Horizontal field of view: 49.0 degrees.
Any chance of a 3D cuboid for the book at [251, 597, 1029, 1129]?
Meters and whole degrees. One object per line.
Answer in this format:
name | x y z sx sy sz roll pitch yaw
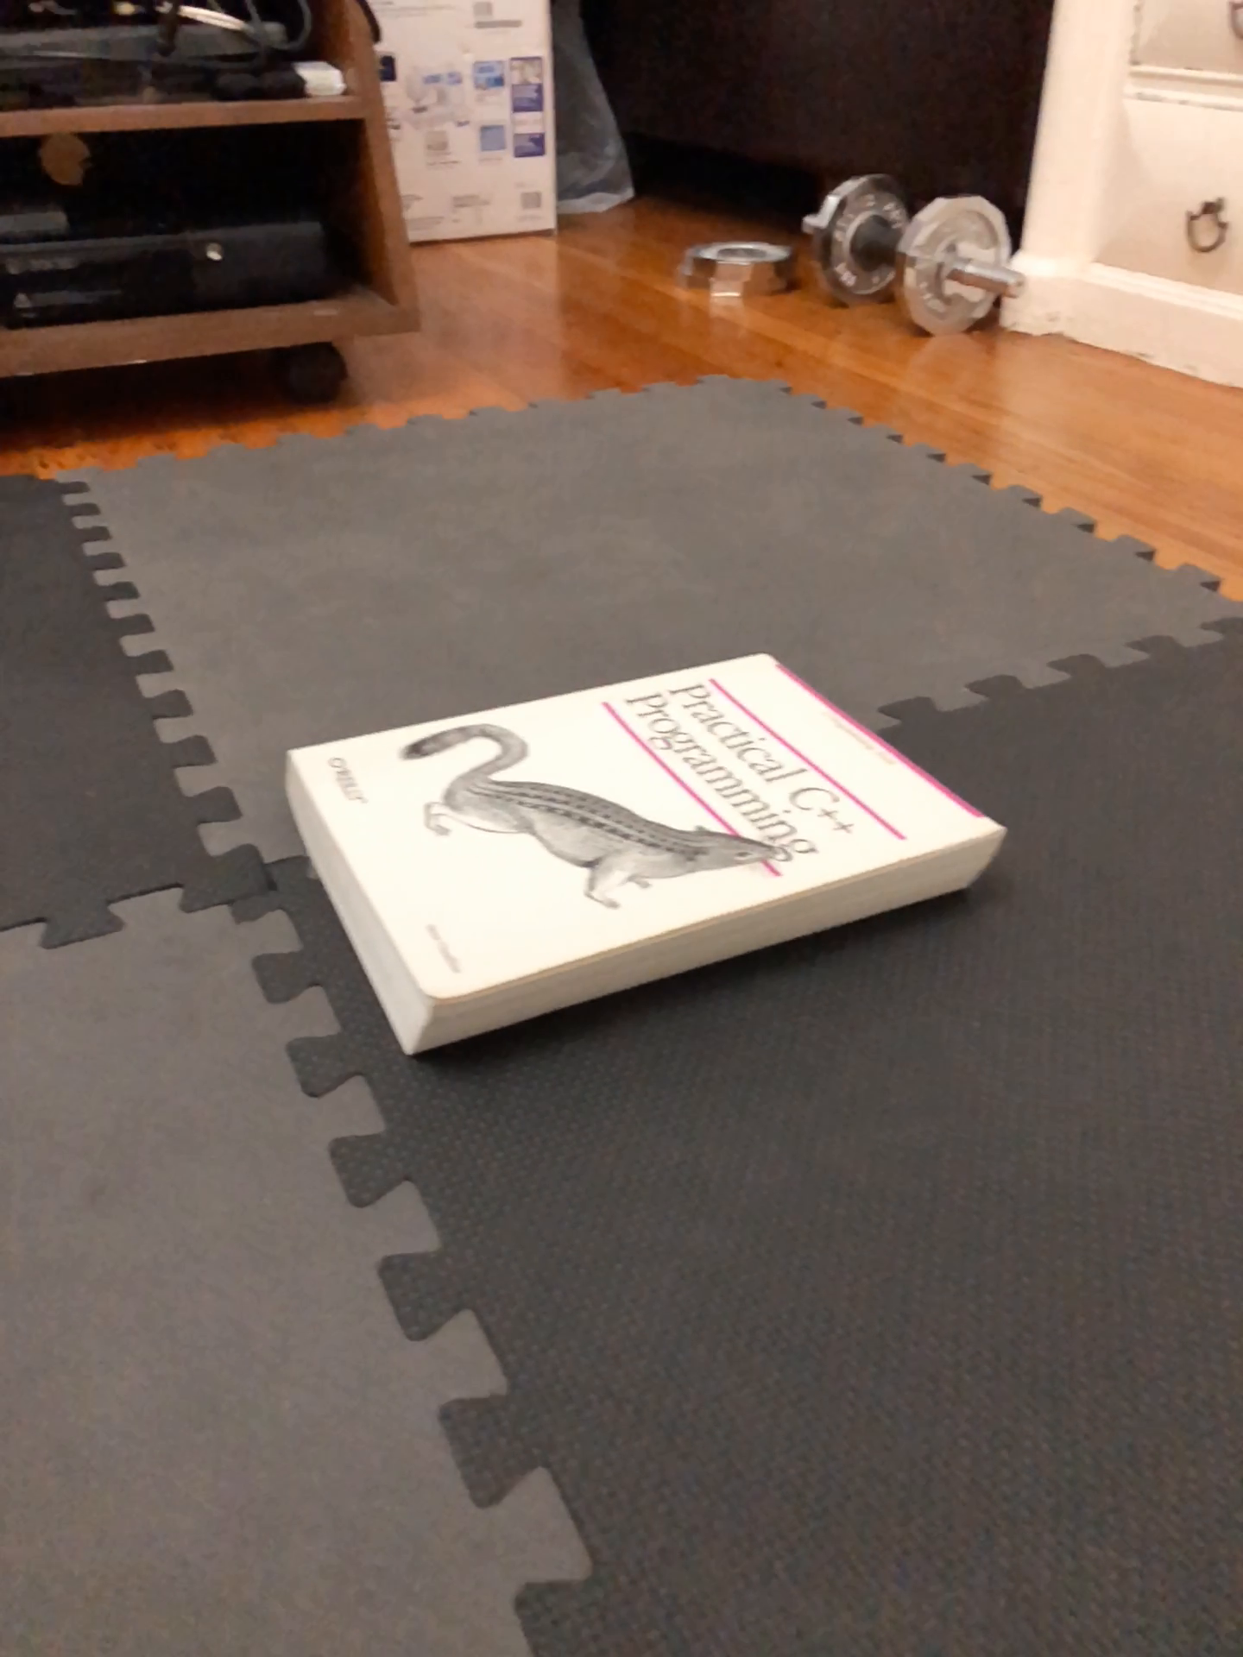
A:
book | -0.001 -0.005 0.562 0.250 0.050 0.201 -15 41 -21
